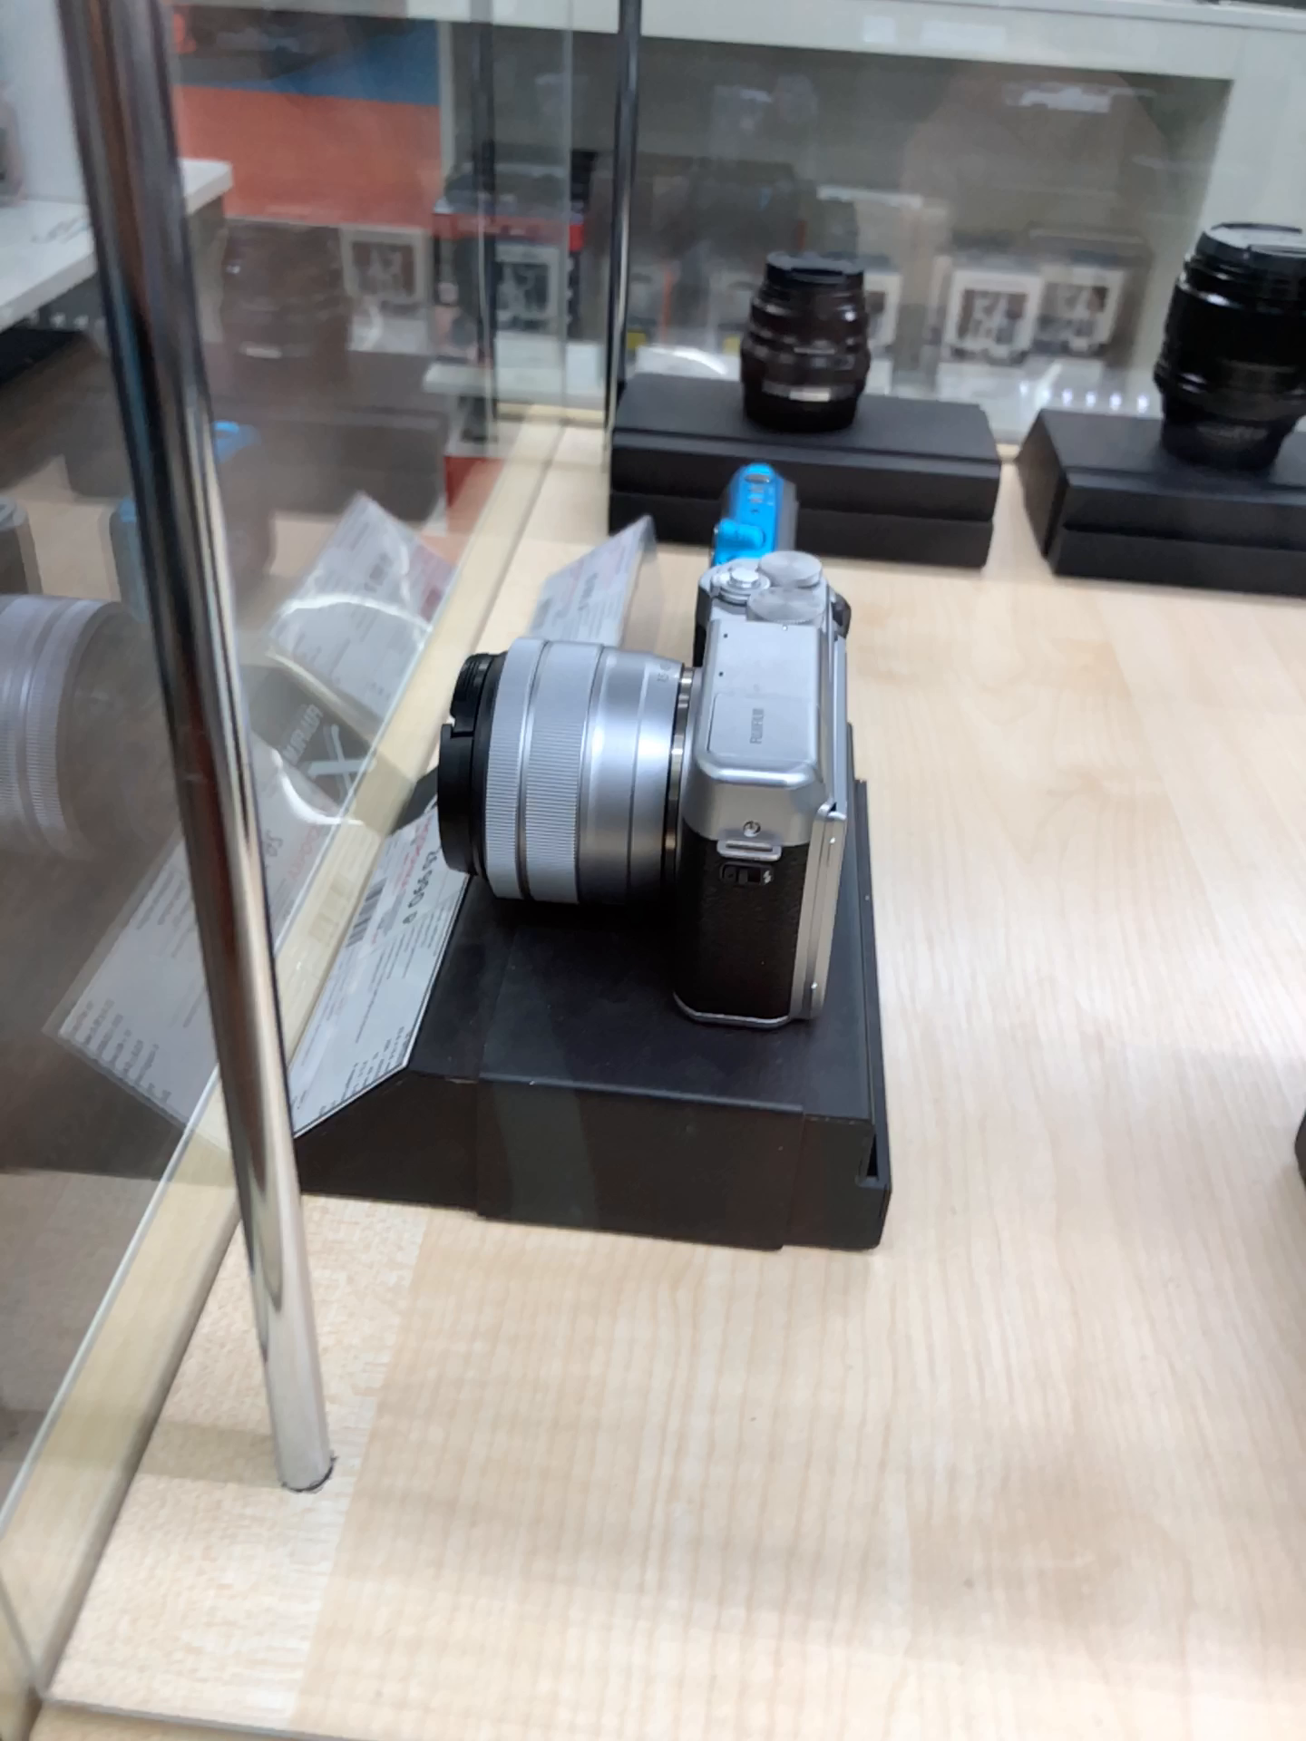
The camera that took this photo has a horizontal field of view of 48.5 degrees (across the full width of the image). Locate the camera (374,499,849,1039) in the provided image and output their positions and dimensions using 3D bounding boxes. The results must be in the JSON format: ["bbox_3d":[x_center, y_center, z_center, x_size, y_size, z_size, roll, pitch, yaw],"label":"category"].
[{"bbox_3d":[-0.005,-0.030,0.350,0.092,0.070,0.120,6,35,2],"label":"camera"}]

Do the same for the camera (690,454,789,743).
[{"bbox_3d":[0.032,-0.102,0.530,0.025,0.064,0.107,6,35,3],"label":"camera"}]
